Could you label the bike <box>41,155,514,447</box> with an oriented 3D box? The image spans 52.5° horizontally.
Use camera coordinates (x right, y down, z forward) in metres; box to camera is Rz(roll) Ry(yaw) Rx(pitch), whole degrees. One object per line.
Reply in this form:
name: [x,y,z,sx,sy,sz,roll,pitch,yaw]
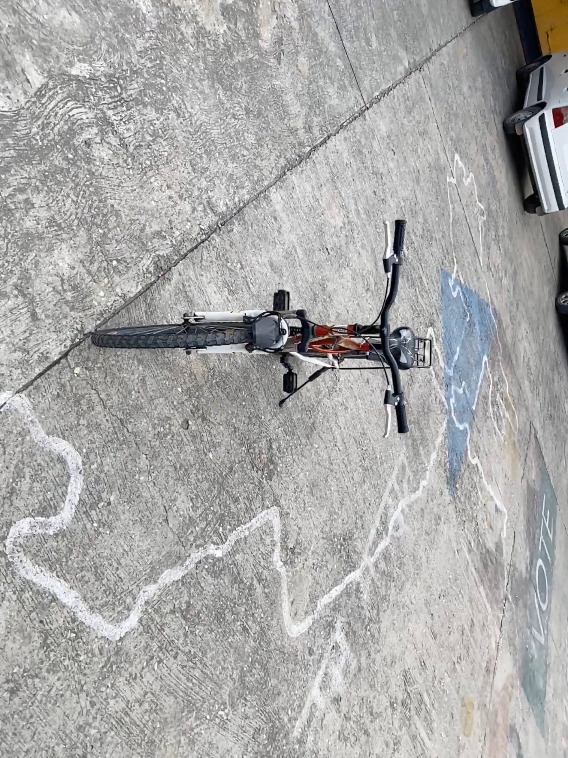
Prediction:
bike: [0.124,-0.151,2.143,1.522,0.976,0.584,-2,85,-56]
